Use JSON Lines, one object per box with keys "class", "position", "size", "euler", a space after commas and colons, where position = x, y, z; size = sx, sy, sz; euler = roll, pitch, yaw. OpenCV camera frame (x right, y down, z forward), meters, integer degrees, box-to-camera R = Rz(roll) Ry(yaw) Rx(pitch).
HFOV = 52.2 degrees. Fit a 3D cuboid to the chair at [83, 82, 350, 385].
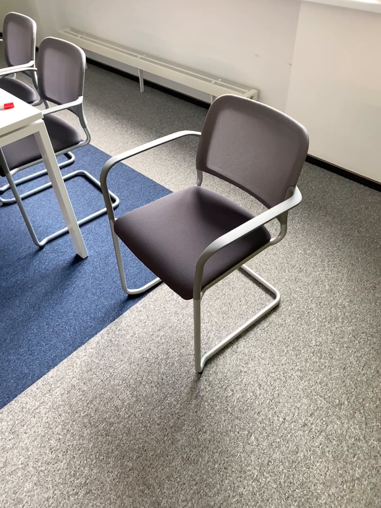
{"class": "chair", "position": [0.068, -0.072, 1.334], "size": [0.521, 0.726, 0.532], "euler": [-30, 51, -24]}
